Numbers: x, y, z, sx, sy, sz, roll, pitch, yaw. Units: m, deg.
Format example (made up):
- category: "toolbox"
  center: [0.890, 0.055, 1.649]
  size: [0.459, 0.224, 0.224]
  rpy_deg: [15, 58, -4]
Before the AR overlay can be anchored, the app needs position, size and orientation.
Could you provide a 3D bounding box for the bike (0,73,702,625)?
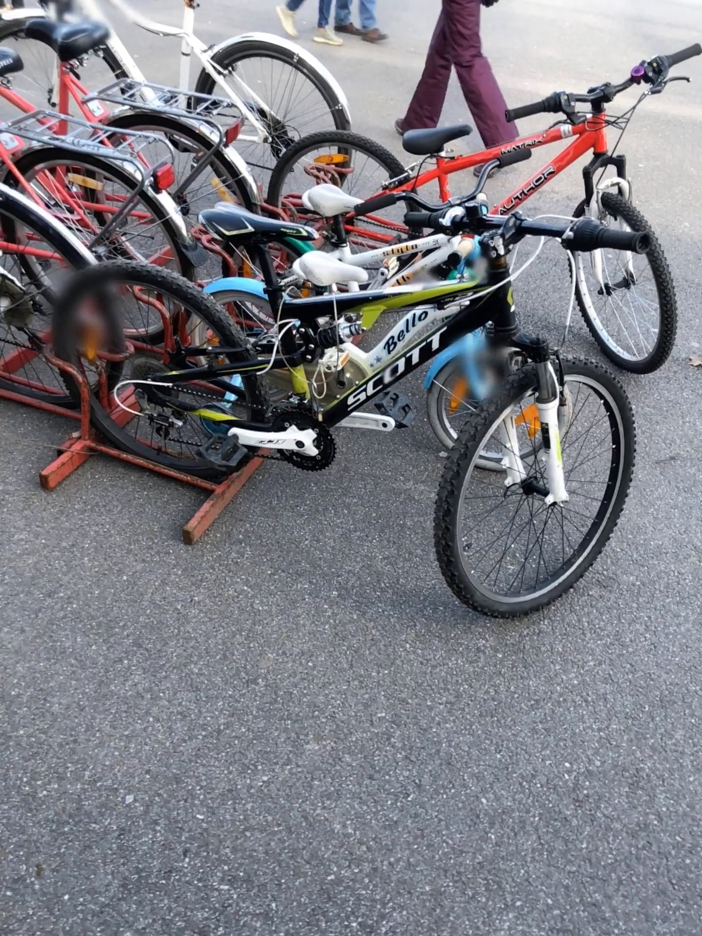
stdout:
- category: "bike"
  center: [-0.042, -0.272, 1.699]
  size: [1.372, 0.901, 0.531]
  rpy_deg: [11, 38, 8]
